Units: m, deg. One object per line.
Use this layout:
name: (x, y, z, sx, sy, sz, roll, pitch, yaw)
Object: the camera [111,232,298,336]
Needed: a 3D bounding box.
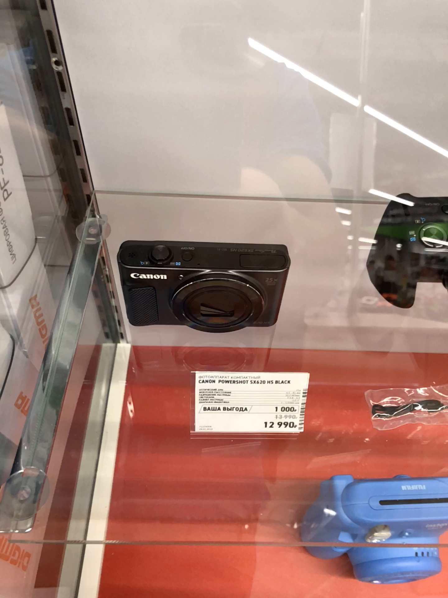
camera: (-0.011, -0.007, 0.292, 0.098, 0.055, 0.030, 2, 53, -2)
